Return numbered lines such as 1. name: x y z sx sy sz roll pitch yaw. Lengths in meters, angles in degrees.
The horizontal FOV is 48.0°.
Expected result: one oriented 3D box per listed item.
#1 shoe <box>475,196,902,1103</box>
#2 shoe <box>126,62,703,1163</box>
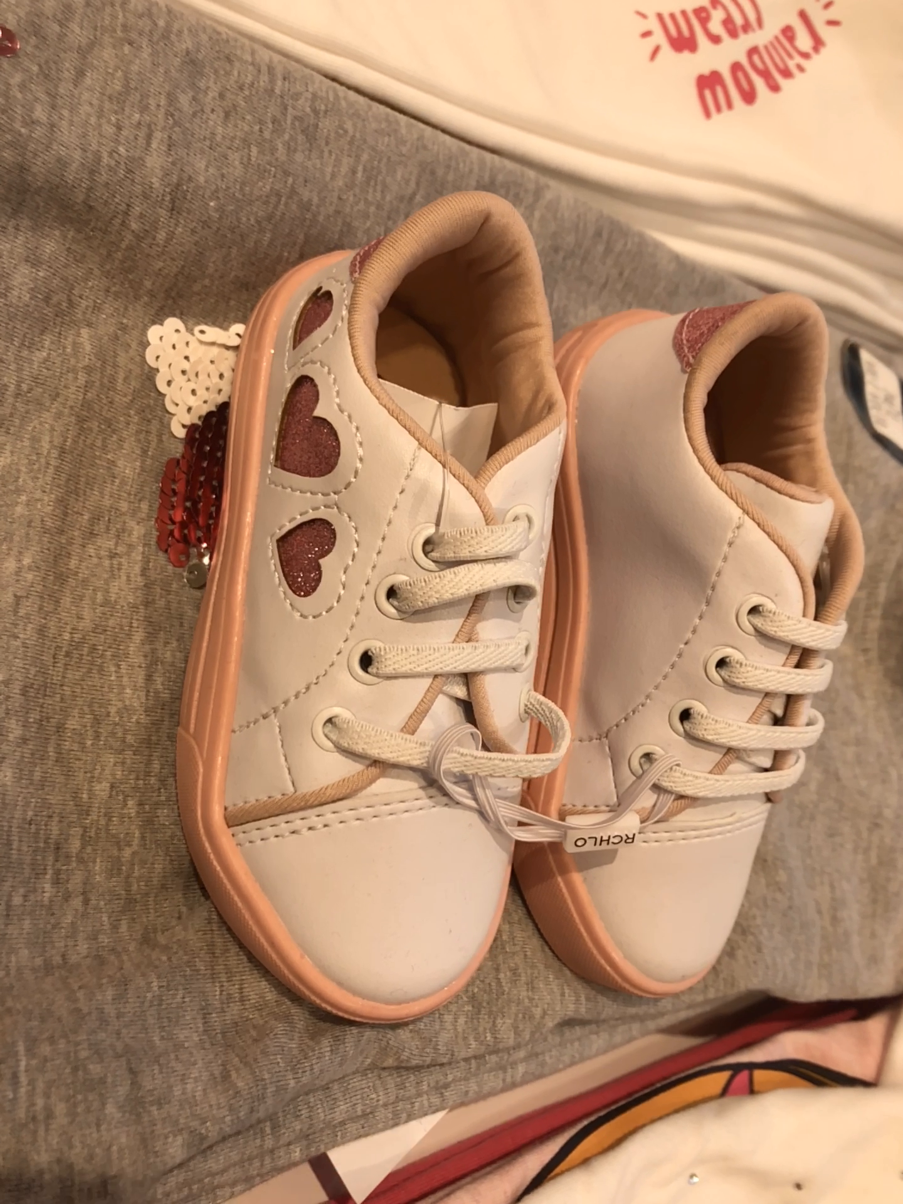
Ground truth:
1. shoe: 0.059 0.008 0.217 0.070 0.070 0.150 -2 88 -41
2. shoe: -0.007 0.002 0.187 0.070 0.070 0.150 5 86 -40
